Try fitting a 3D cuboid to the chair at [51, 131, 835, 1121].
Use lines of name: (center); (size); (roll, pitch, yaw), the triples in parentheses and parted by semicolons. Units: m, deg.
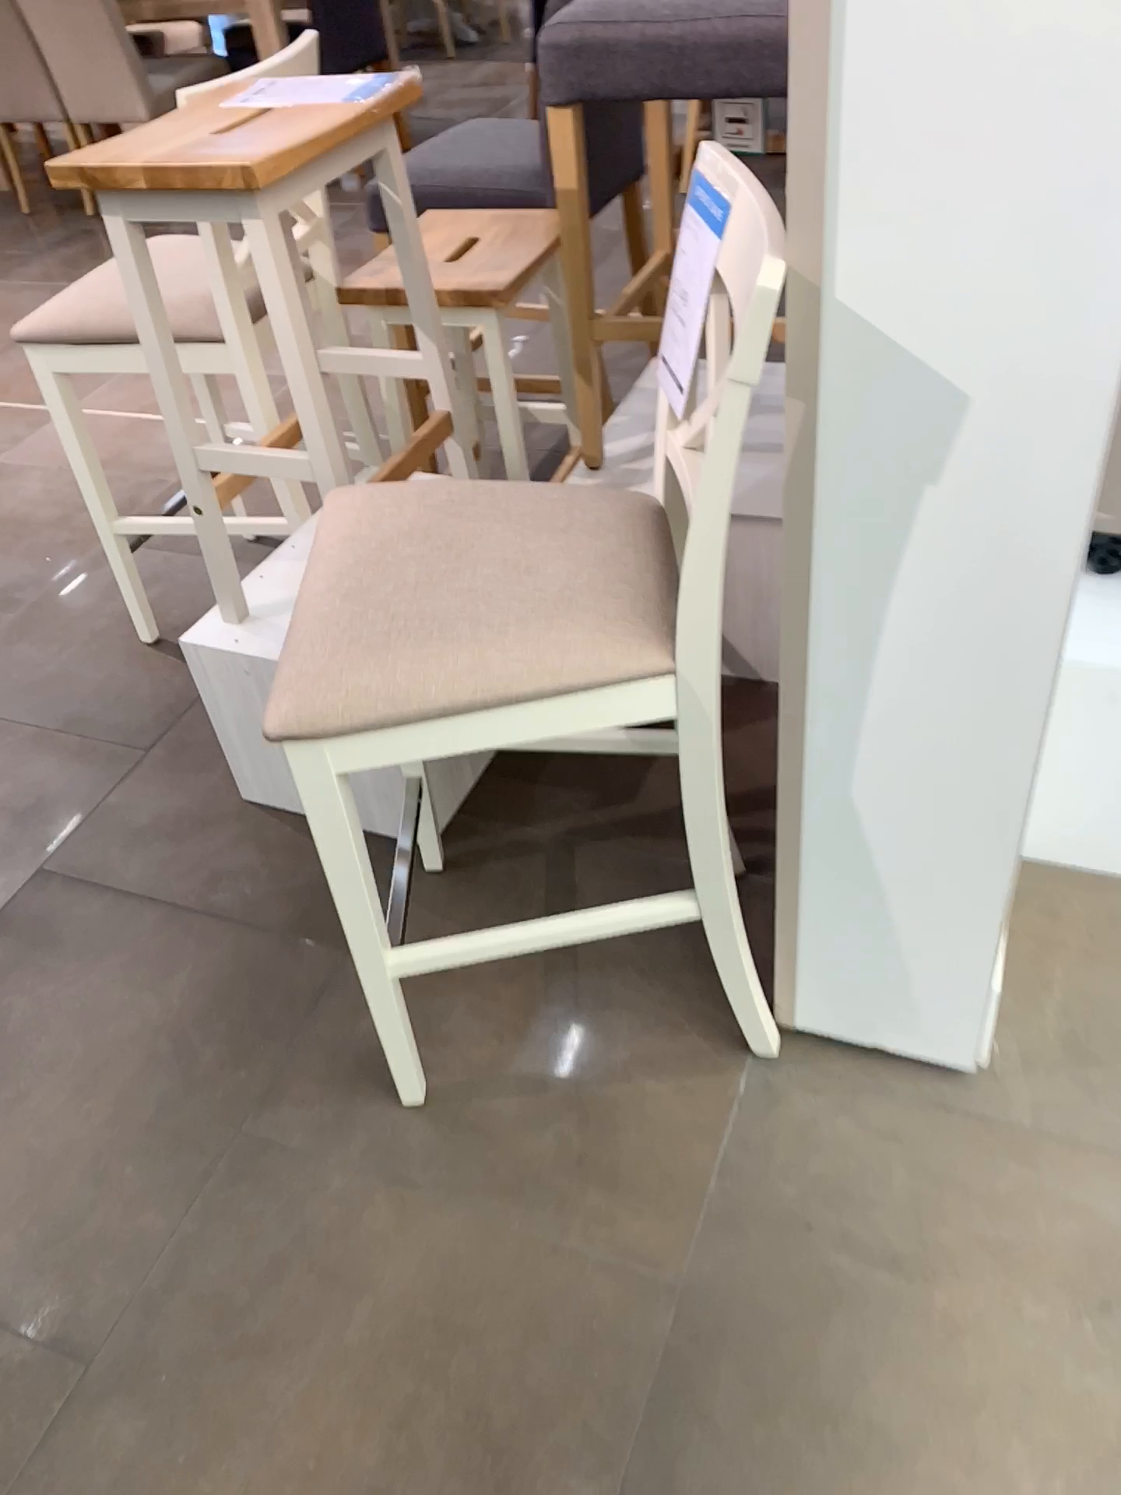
chair: (-0.032, -0.066, 1.247); (0.537, 0.938, 0.454); (-5, 40, 5)
